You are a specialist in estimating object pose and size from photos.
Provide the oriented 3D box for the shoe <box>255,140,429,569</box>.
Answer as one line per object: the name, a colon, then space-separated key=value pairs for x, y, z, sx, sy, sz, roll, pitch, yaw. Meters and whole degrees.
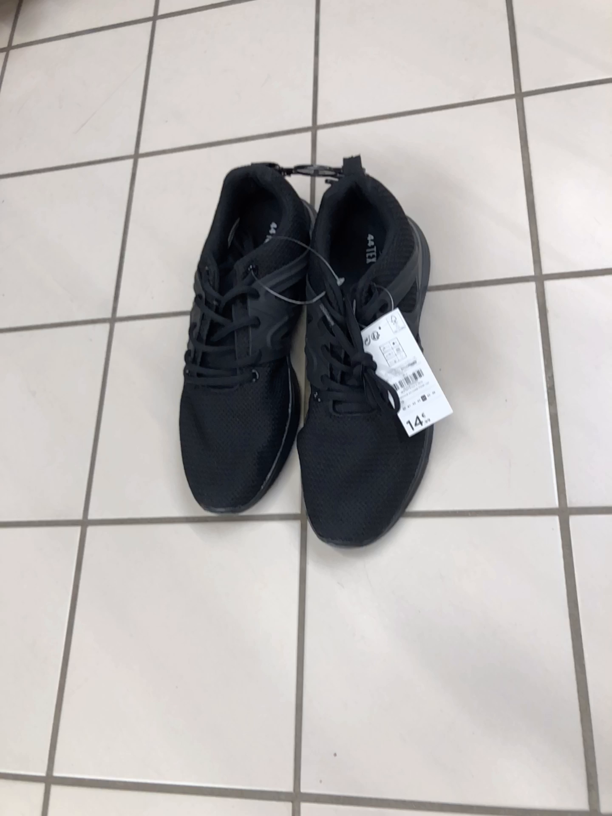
shoe: x=0.040 y=-0.041 z=0.529 sx=0.100 sy=0.110 sz=0.311 roll=-1 pitch=69 yaw=14

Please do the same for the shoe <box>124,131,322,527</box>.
shoe: x=-0.057 y=-0.066 z=0.572 sx=0.100 sy=0.110 sz=0.311 roll=-1 pitch=69 yaw=14
